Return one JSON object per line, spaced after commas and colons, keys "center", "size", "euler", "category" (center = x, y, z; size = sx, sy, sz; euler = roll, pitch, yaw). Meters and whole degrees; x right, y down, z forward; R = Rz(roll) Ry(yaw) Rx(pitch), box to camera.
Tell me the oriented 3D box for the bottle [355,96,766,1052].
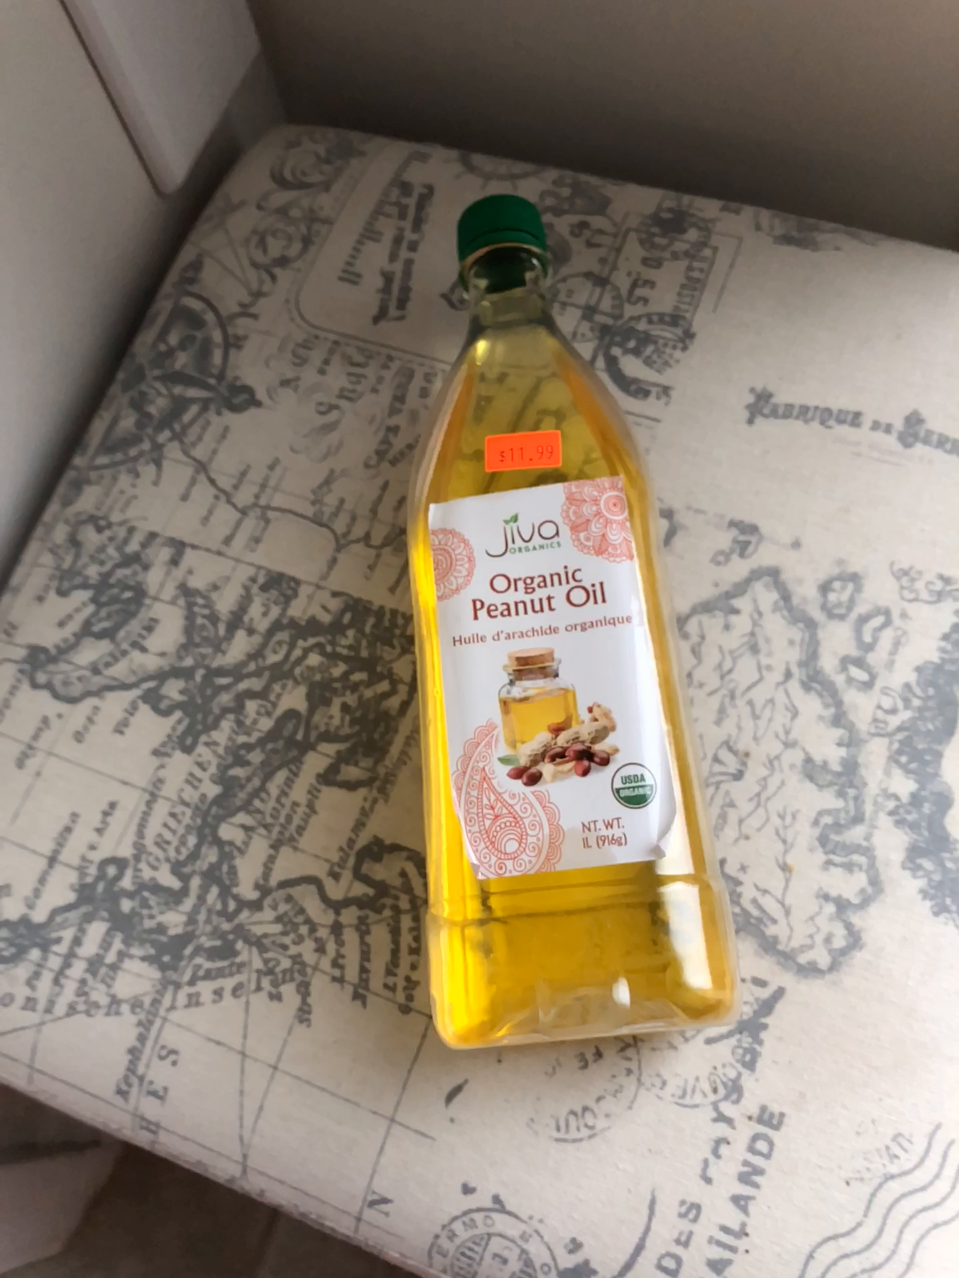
{"center": [0.016, -0.025, 0.323], "size": [0.080, 0.070, 0.270], "euler": [-7, 70, 3], "category": "bottle"}
